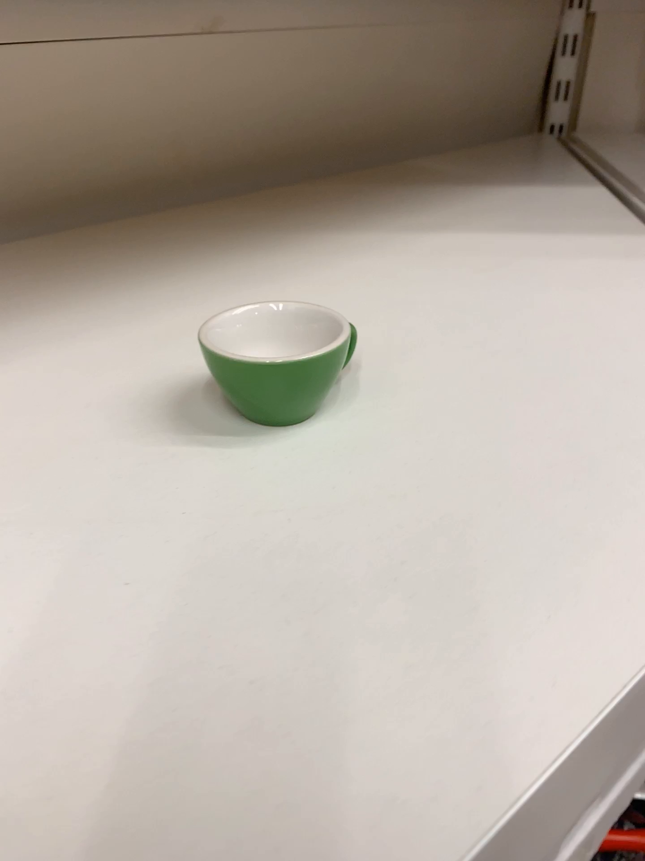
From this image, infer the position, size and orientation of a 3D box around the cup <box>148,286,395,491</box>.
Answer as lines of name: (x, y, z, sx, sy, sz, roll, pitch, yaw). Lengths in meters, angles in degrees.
cup: (-0.019, -0.021, 0.261, 0.070, 0.040, 0.060, -26, 40, -33)
